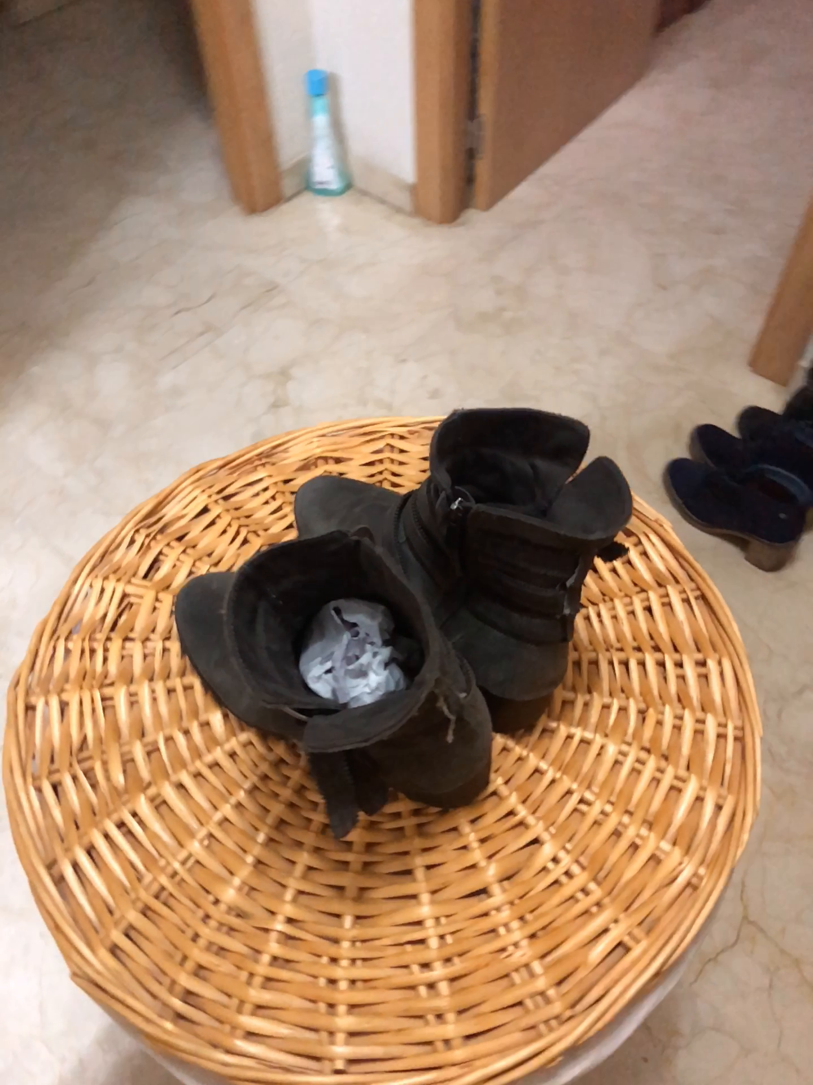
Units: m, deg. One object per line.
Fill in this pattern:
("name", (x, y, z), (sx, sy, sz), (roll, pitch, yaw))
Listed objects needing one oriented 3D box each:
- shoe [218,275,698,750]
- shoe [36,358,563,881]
("shoe", (0.019, -0.024, 0.573), (0.260, 0.170, 0.110), (33, 54, 23))
("shoe", (-0.059, 0.042, 0.518), (0.260, 0.170, 0.110), (33, 62, 23))
